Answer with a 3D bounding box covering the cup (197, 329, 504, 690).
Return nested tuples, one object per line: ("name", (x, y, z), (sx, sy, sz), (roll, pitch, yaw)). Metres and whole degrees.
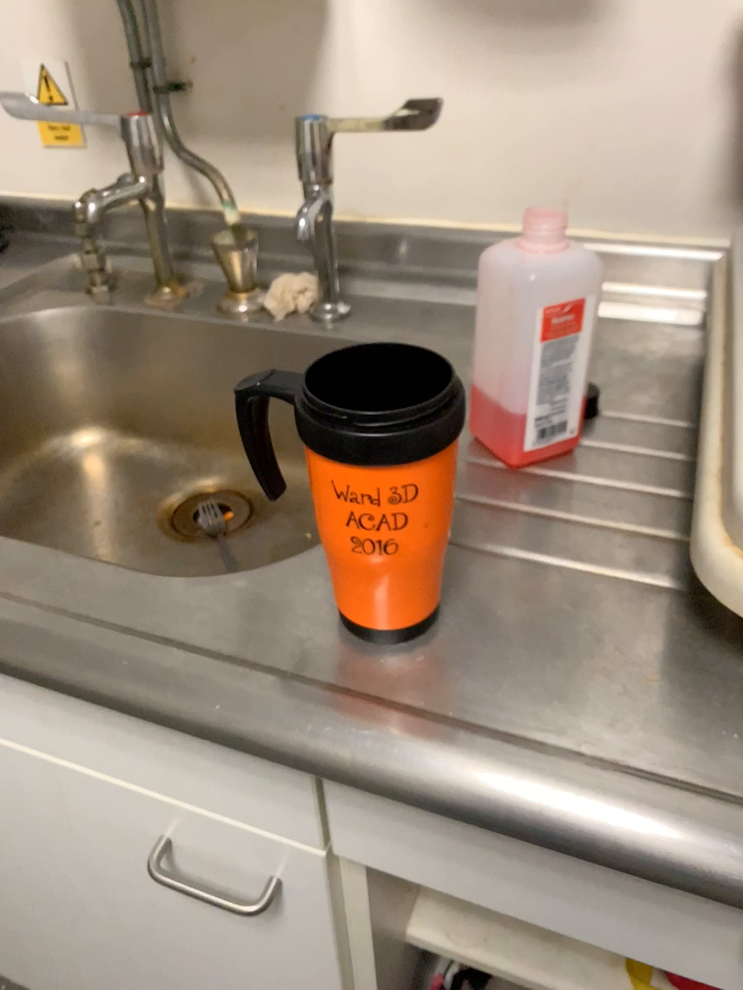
("cup", (-0.004, 0.007, 0.440), (0.134, 0.164, 0.090), (9, 37, 17))
